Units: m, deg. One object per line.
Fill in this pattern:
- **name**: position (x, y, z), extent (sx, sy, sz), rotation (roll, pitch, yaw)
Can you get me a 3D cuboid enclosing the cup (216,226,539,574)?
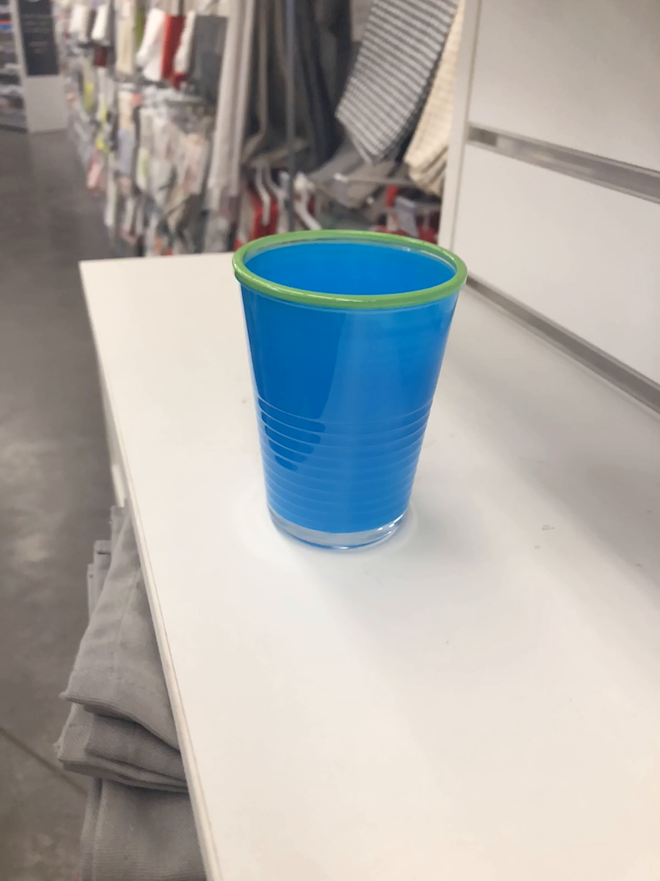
- **cup**: position (0.009, -0.020, 0.263), extent (0.083, 0.090, 0.081), rotation (2, 30, -1)
